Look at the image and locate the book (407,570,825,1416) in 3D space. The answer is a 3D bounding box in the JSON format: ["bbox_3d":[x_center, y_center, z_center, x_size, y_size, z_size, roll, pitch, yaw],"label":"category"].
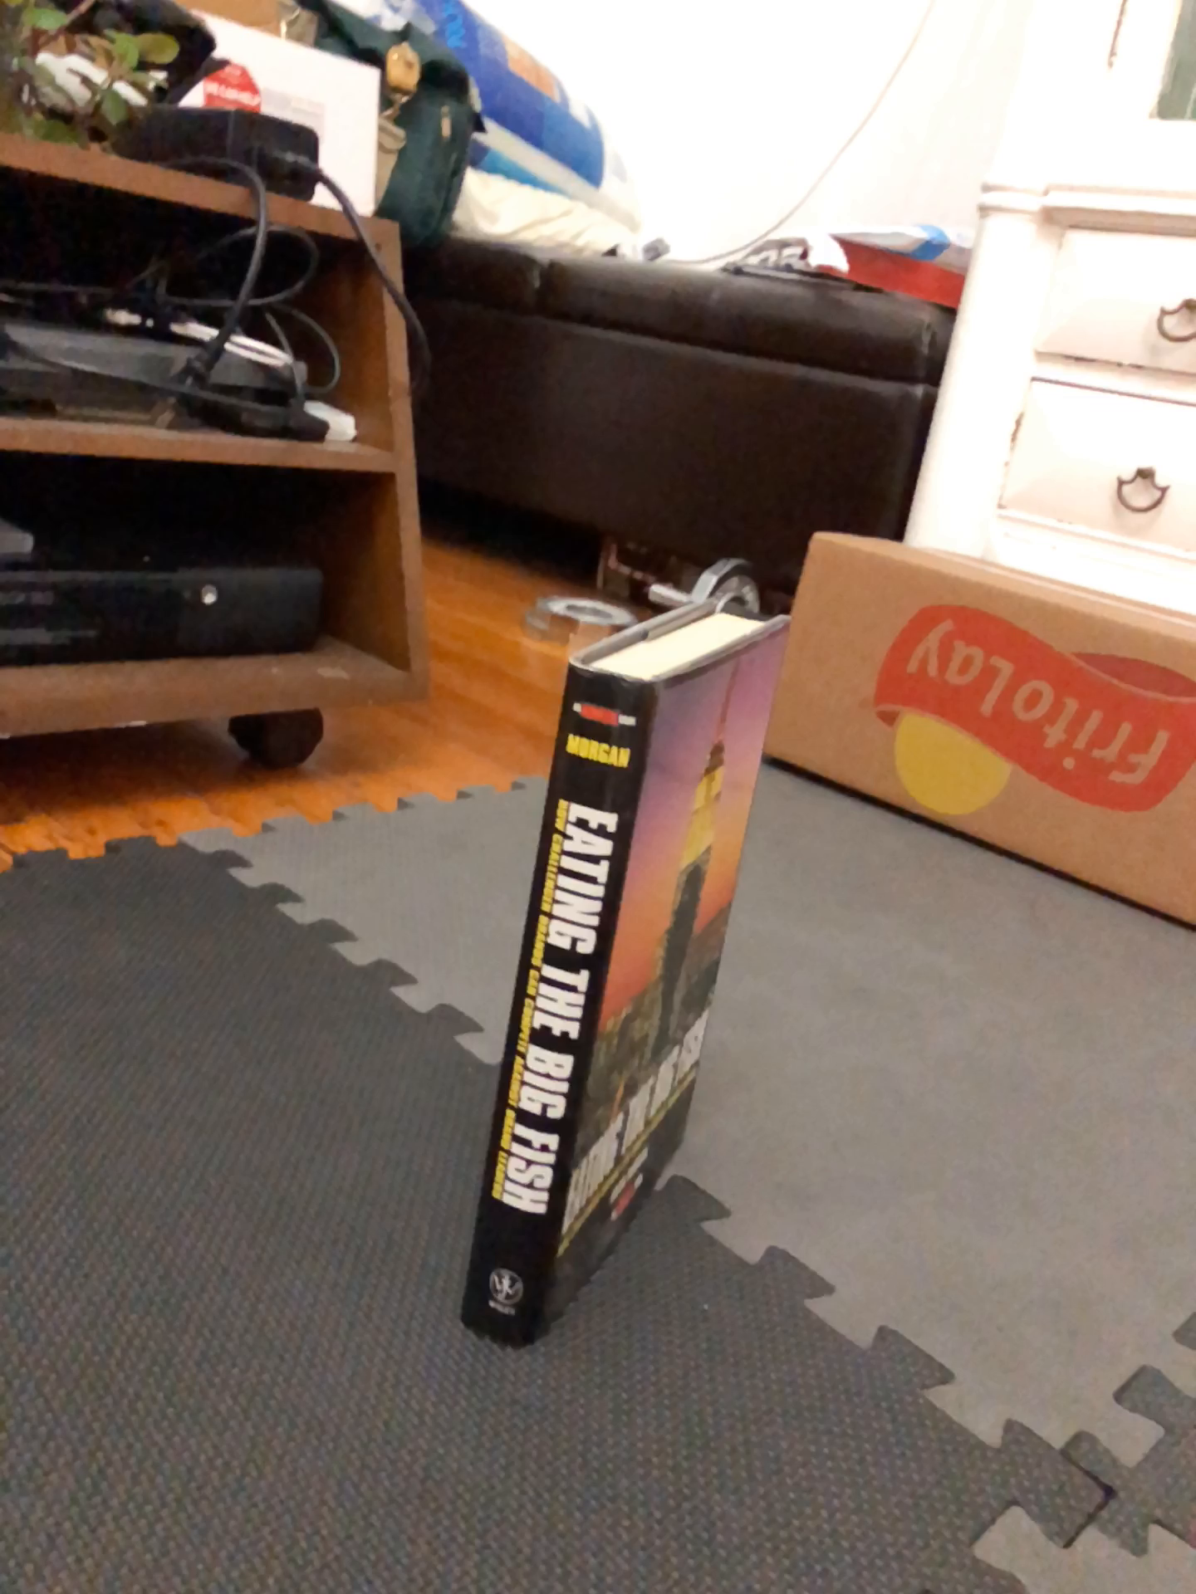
[{"bbox_3d":[0.012,0.058,0.490,0.050,0.259,0.181,17,20,16],"label":"book"}]
